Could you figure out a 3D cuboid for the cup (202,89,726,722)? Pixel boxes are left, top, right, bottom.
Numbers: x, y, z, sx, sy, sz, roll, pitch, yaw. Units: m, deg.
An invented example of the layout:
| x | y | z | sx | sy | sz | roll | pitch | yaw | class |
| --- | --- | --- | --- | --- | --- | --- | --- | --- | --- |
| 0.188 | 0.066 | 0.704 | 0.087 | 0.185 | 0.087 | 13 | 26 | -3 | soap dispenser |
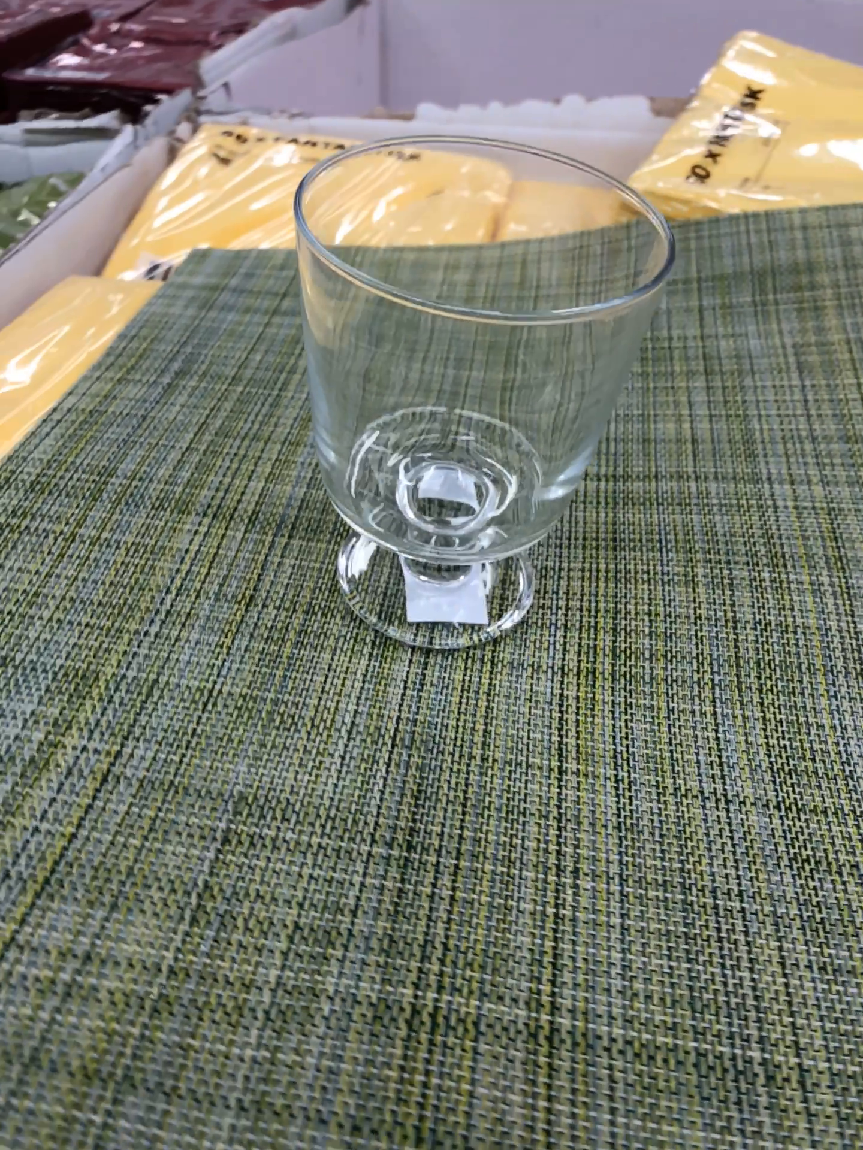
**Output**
| x | y | z | sx | sy | sz | roll | pitch | yaw | class |
| --- | --- | --- | --- | --- | --- | --- | --- | --- | --- |
| 0.007 | -0.044 | 0.252 | 0.090 | 0.110 | 0.090 | 5 | 47 | -5 | cup |
